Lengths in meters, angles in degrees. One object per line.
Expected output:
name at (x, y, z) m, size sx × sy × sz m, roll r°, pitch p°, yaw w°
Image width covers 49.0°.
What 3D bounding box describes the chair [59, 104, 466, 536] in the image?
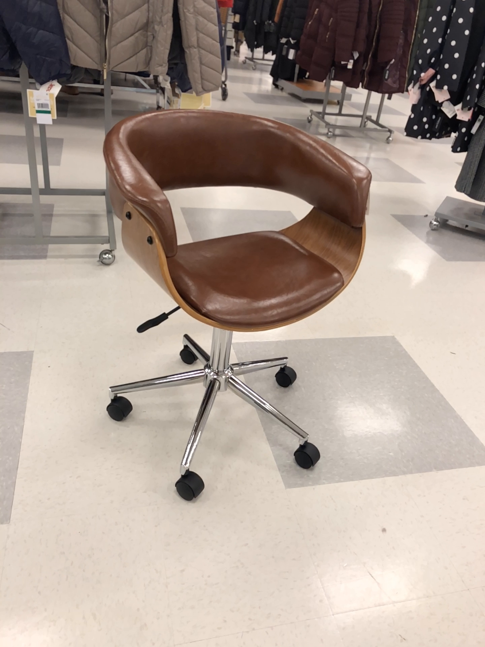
chair at (-0.027, -0.080, 1.264) m, size 0.590 × 0.696 × 0.628 m, roll -13°, pitch 37°, yaw -31°
